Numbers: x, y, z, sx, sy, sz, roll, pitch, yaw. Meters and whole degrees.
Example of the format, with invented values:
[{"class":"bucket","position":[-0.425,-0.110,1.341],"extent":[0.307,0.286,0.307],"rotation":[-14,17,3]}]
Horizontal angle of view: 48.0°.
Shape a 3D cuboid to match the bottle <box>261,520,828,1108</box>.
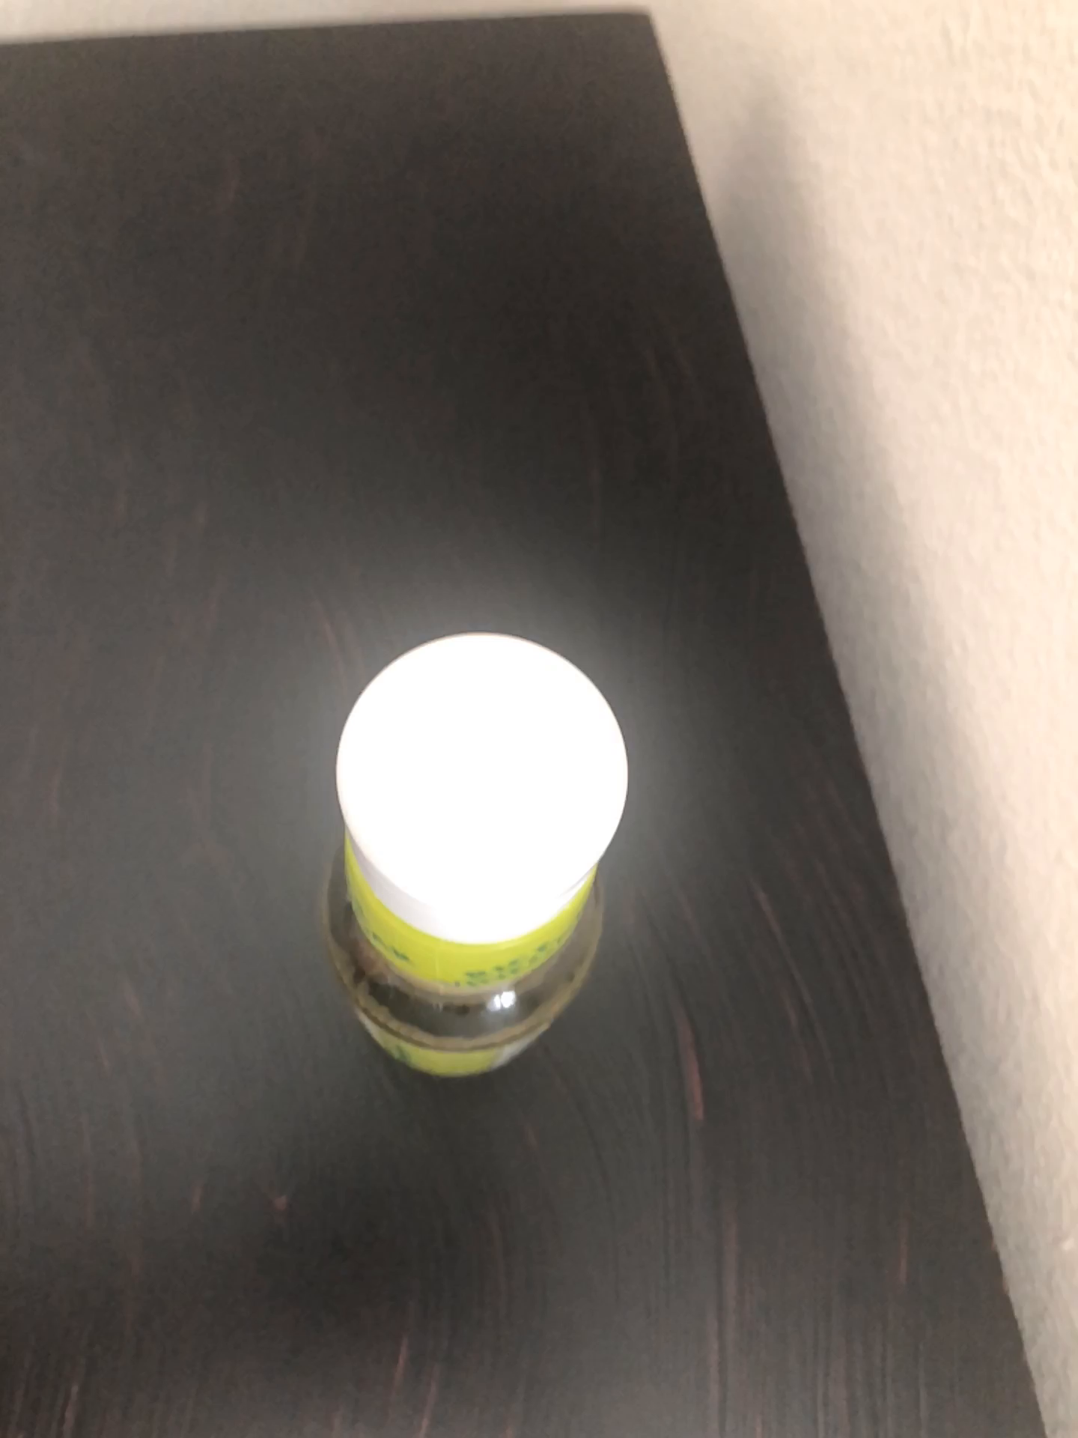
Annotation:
[{"class":"bottle","position":[-0.009,0.040,0.254],"extent":[0.070,0.200,0.070],"rotation":[2,70,-6]}]
